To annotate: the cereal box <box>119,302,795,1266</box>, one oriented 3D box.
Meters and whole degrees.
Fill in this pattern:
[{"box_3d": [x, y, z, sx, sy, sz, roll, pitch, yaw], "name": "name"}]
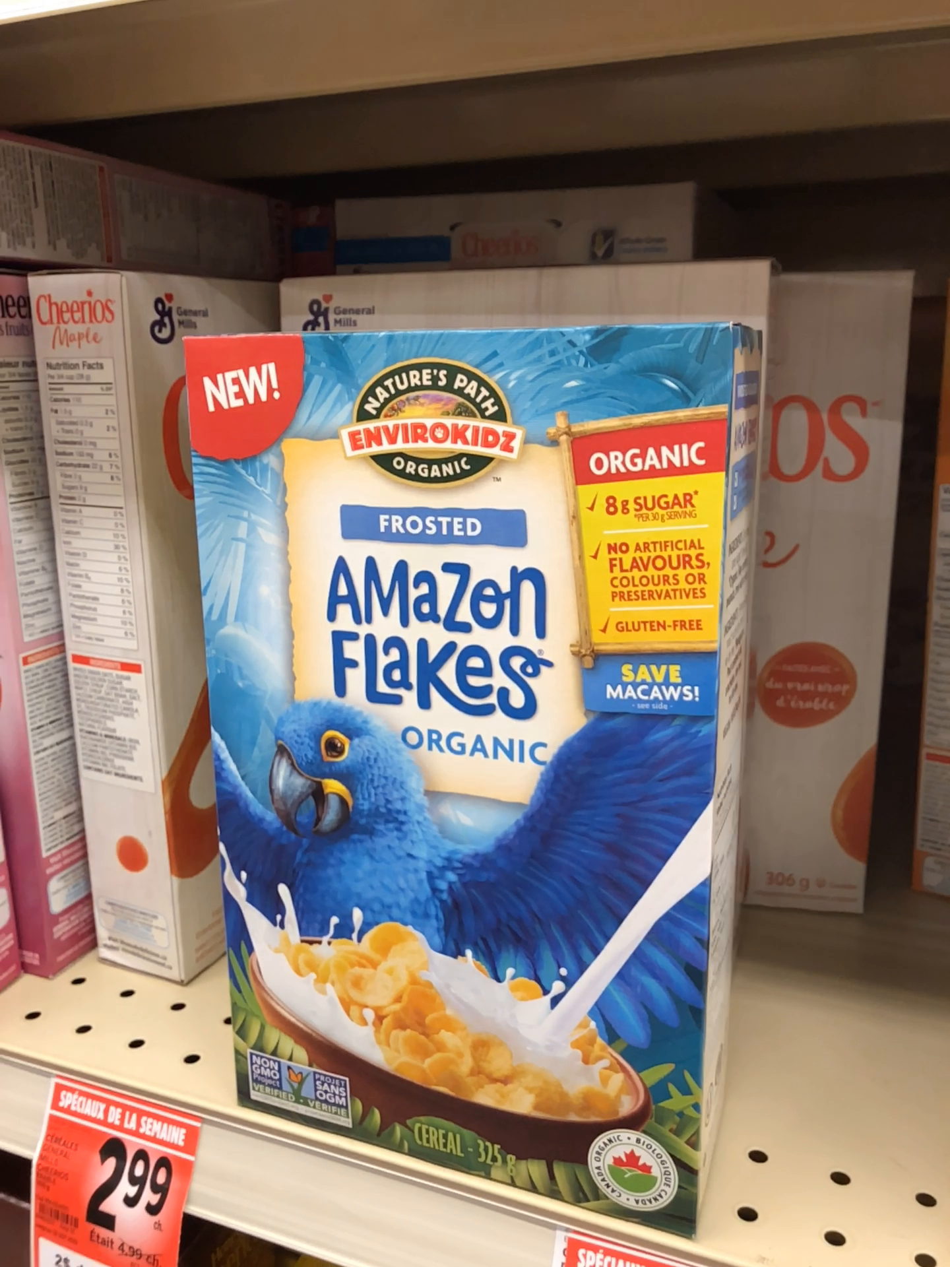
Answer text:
[{"box_3d": [-0.005, 0.037, 0.306, 0.170, 0.249, 0.050, 5, 16, 22], "name": "cereal box"}]
